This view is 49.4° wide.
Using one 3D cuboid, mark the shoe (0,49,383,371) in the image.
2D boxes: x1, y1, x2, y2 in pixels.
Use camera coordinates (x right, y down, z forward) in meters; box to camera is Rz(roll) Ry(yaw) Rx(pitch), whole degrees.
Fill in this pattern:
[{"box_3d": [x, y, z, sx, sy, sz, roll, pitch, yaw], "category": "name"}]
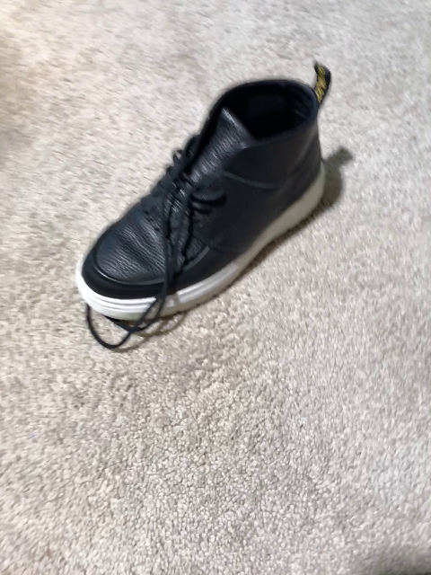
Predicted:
[{"box_3d": [-0.011, -0.065, 0.386, 0.262, 0.111, 0.107, -34, 68, -14], "category": "shoe"}]
